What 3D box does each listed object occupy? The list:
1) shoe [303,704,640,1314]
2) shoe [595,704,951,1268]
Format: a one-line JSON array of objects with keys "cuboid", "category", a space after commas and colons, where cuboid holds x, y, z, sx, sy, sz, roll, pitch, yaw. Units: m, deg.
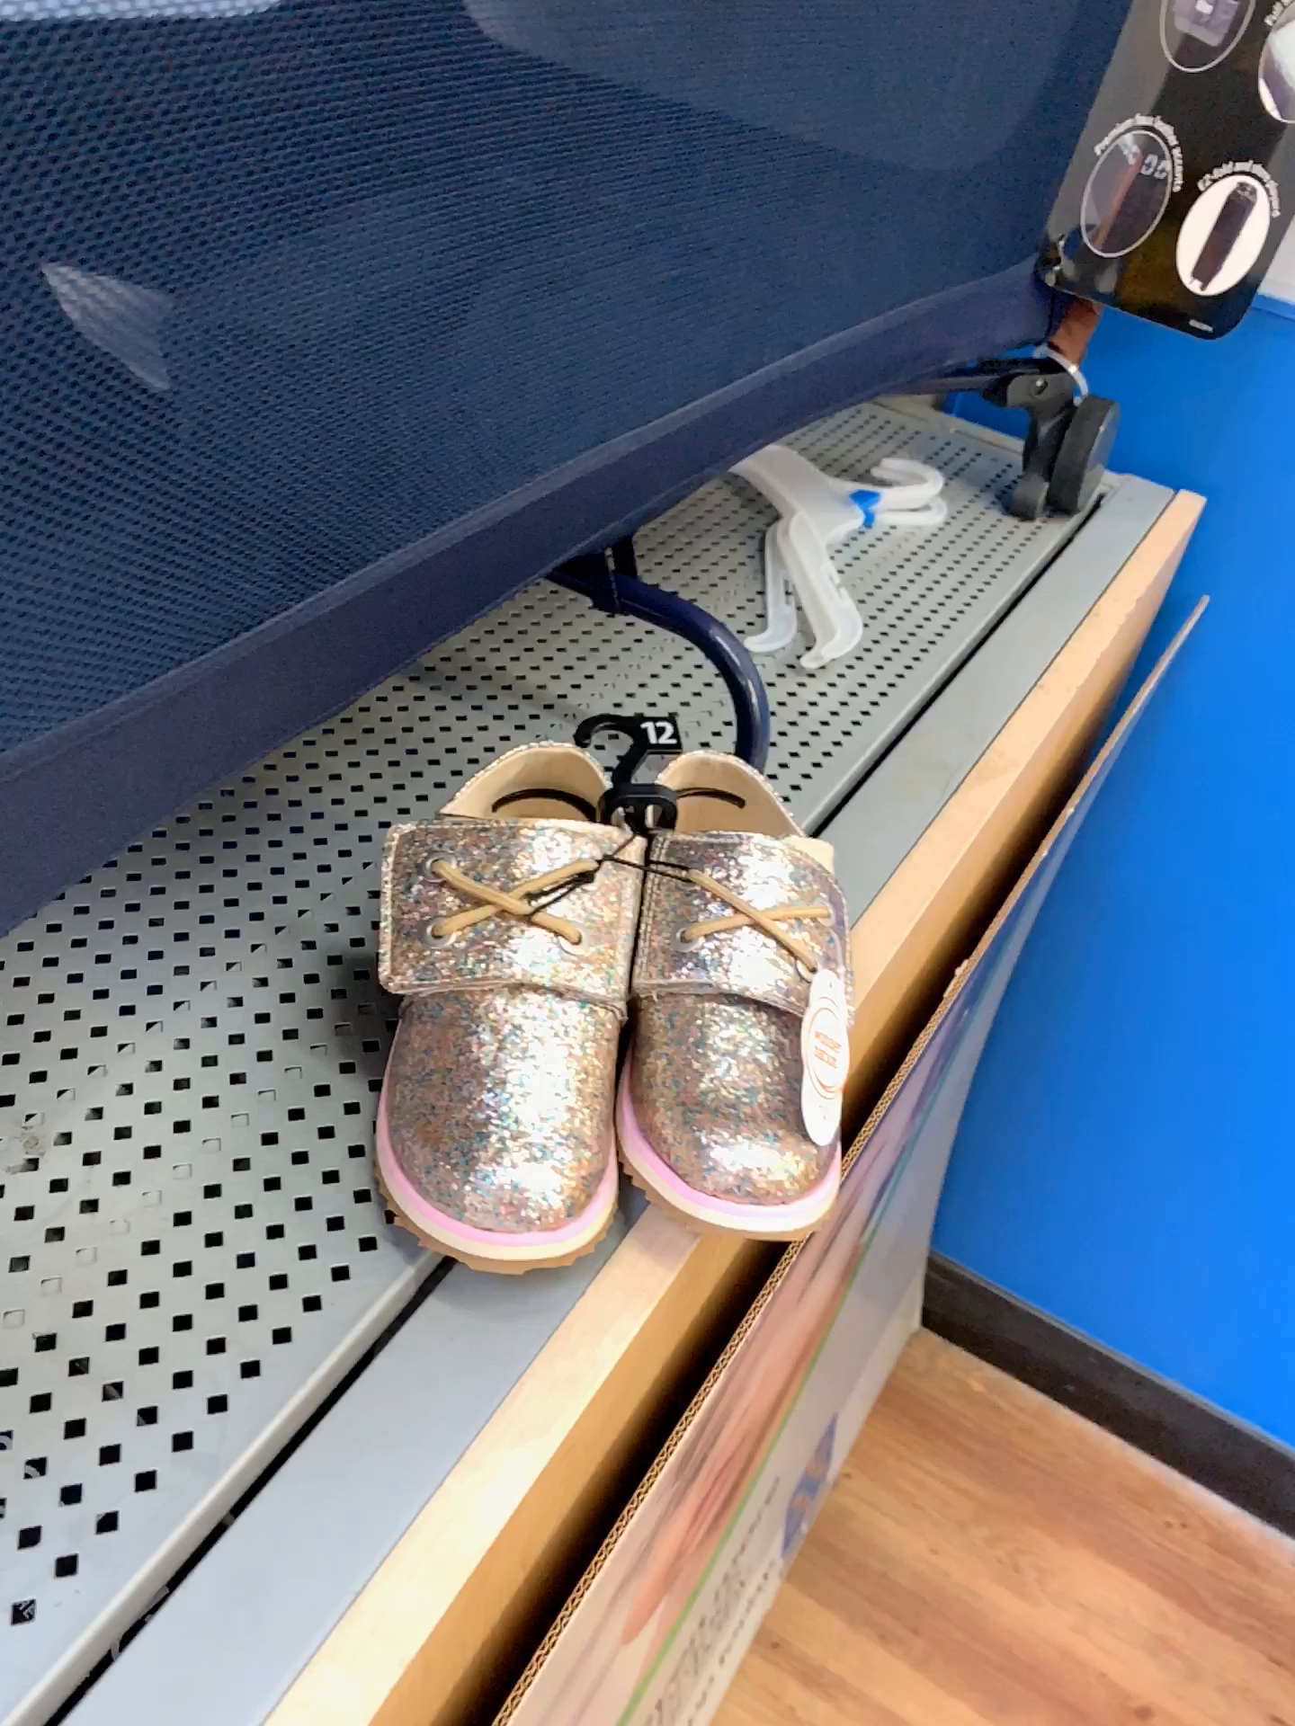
[{"cuboid": [-0.051, 0.037, 0.443, 0.083, 0.070, 0.200, 7, 39, -5], "category": "shoe"}, {"cuboid": [0.032, 0.031, 0.464, 0.086, 0.060, 0.206, 6, 39, -9], "category": "shoe"}]
